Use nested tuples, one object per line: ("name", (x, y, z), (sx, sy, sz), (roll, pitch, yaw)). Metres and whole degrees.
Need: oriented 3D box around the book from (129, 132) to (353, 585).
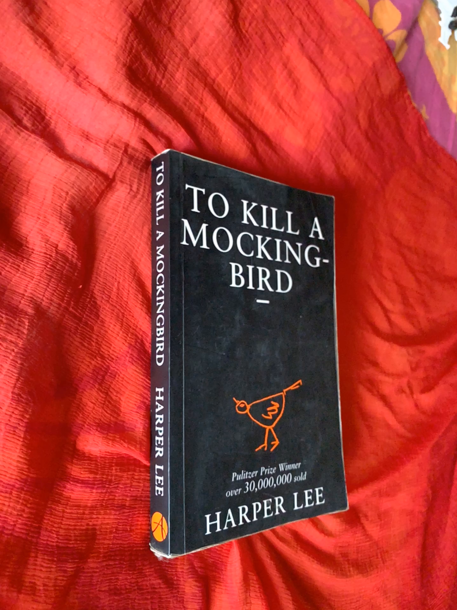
("book", (0.010, 0.022, 0.243), (0.111, 0.040, 0.180), (5, 81, -41))
